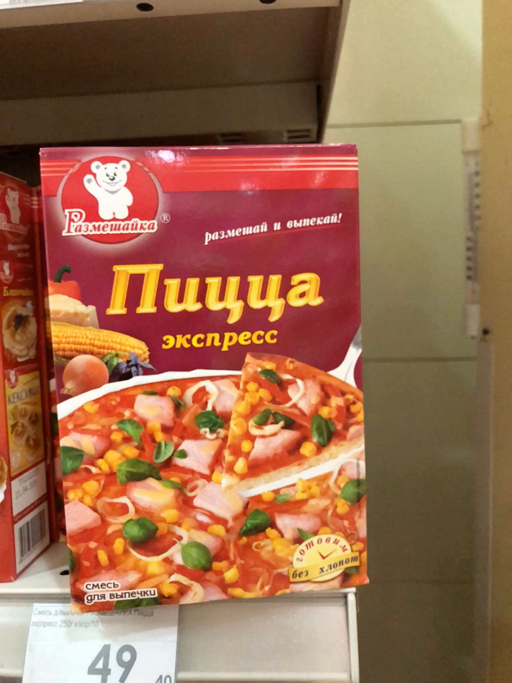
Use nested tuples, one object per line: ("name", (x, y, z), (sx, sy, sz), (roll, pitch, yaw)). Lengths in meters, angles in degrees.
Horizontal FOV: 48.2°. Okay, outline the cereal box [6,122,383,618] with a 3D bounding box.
("cereal box", (-0.022, 0.009, 0.246), (0.140, 0.190, 0.040), (-3, 3, -6))
